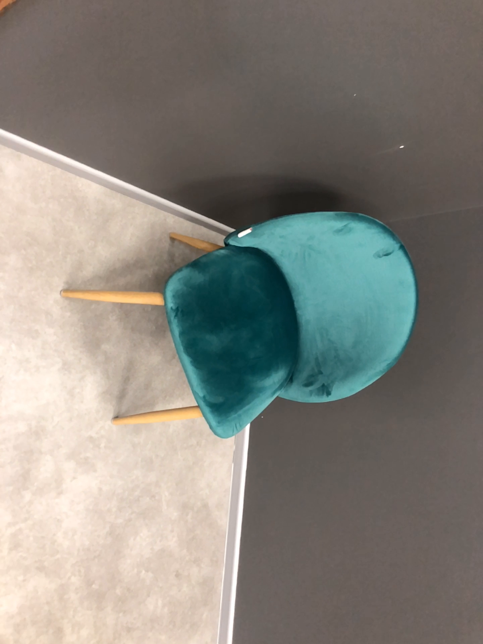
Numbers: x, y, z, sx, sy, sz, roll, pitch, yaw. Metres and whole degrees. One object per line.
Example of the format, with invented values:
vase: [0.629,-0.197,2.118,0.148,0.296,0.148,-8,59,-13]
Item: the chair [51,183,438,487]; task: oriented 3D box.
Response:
chair: [0.001,0.010,1.529,0.543,0.855,0.540,-33,113,-44]
